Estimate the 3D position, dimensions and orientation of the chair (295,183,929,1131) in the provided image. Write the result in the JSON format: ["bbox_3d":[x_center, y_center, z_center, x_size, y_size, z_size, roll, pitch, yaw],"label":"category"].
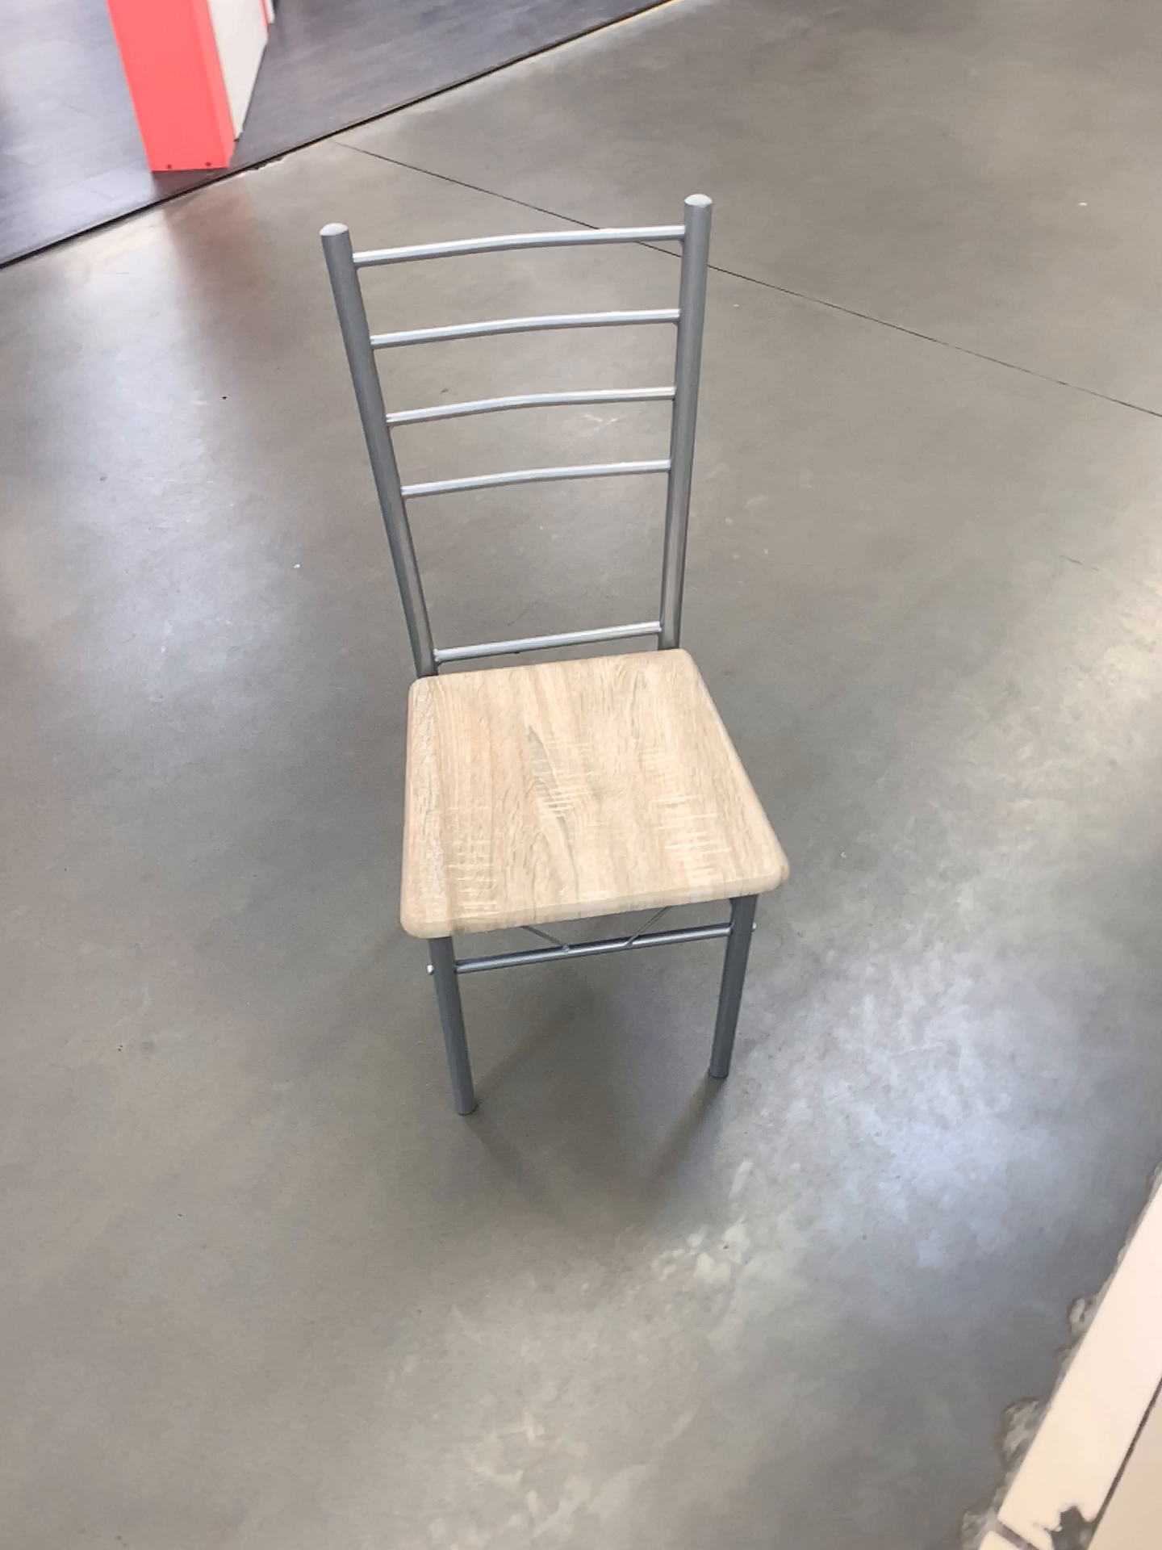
[{"bbox_3d":[0.000,-0.070,1.221,0.410,0.837,0.472,-6,47,-4],"label":"chair"}]
